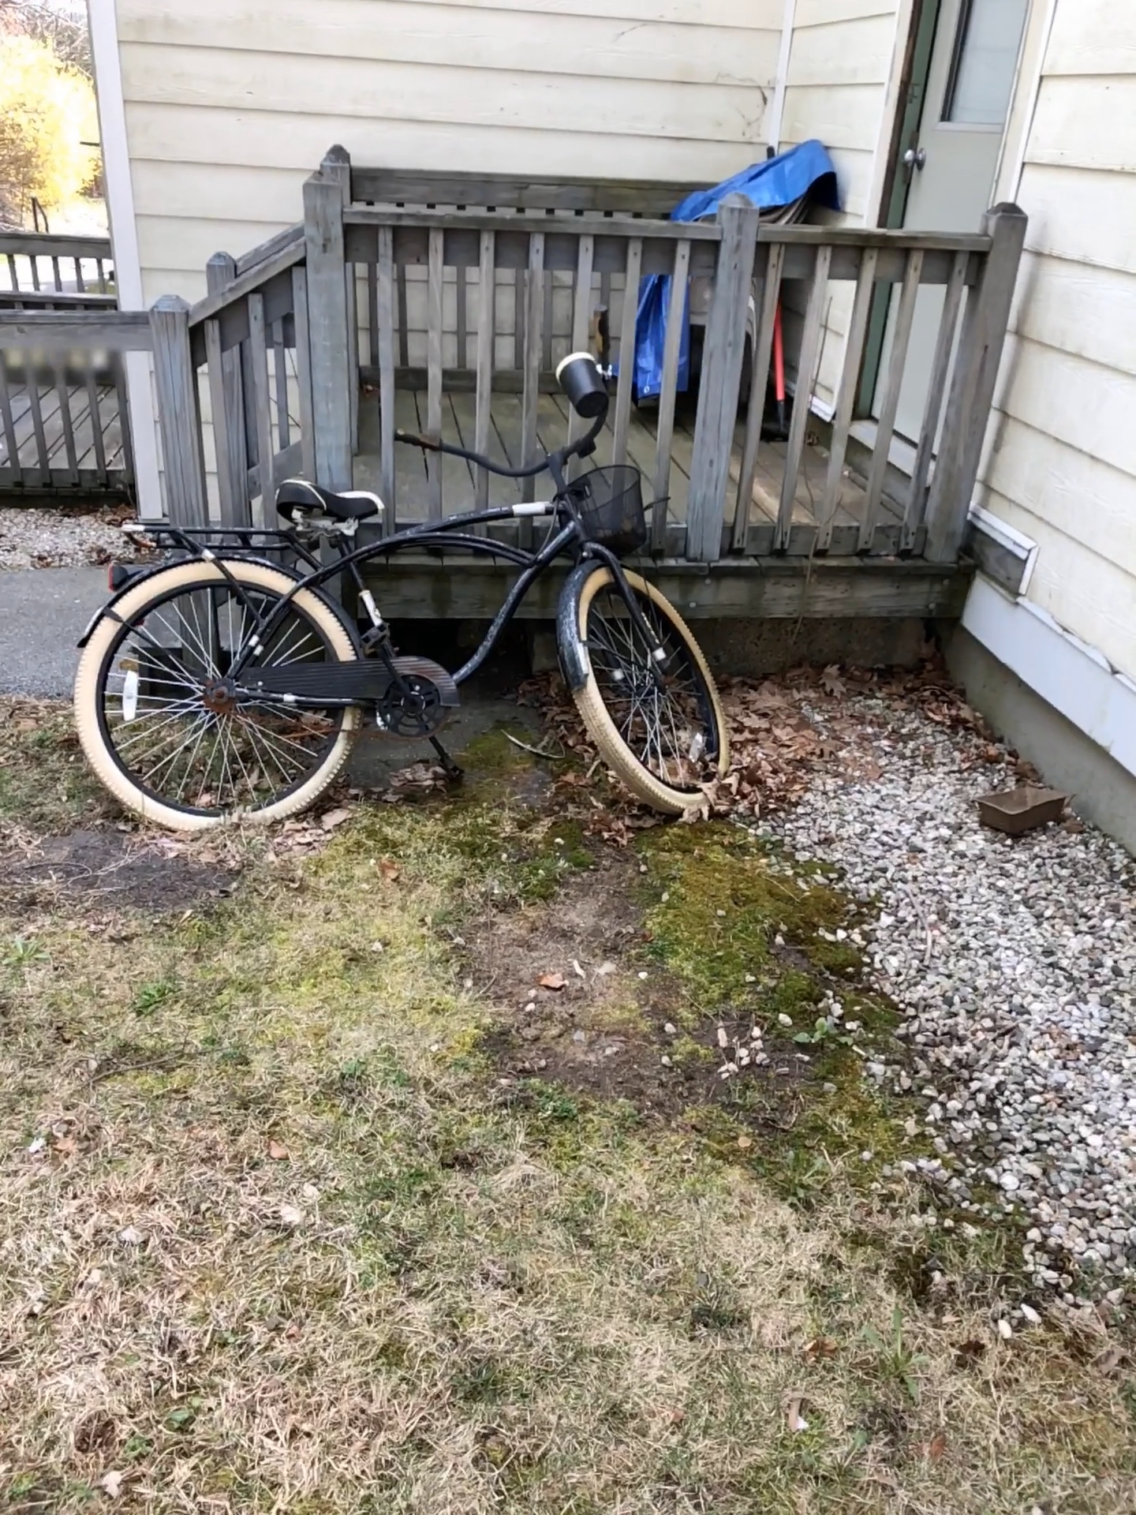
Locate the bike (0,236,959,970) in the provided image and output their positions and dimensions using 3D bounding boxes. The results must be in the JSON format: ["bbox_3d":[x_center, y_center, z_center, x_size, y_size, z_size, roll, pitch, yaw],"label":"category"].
[{"bbox_3d":[-0.290,-0.443,2.966,1.611,1.313,0.942,-10,30,-18],"label":"bike"}]
